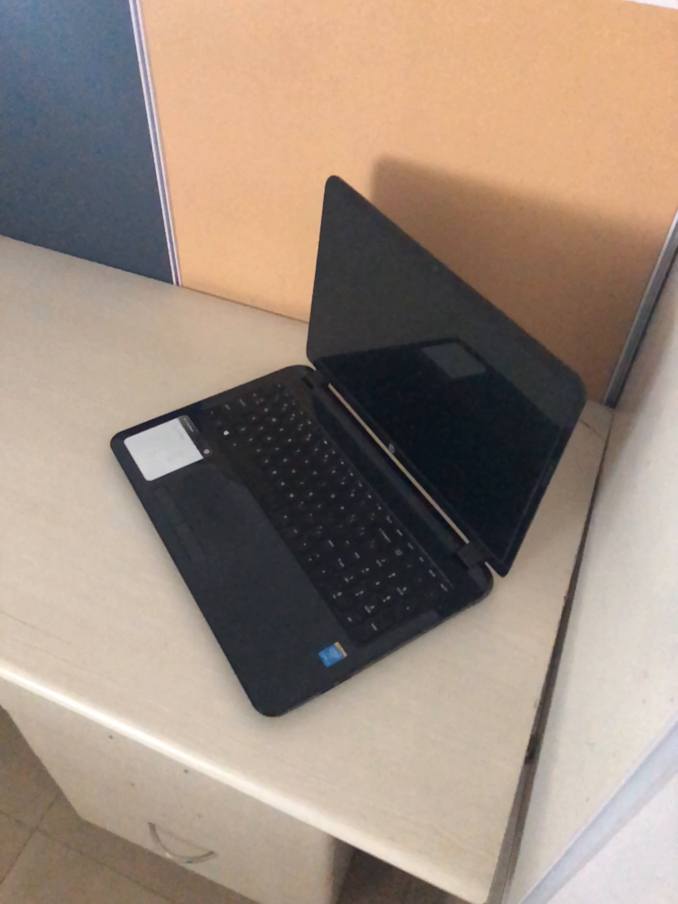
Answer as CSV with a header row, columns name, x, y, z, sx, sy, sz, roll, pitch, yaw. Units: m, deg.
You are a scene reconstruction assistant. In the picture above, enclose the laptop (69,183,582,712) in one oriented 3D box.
name,x,y,z,sx,sy,sz,roll,pitch,yaw
laptop,-0.032,-0.026,0.677,0.265,0.225,0.352,-24,53,-20
